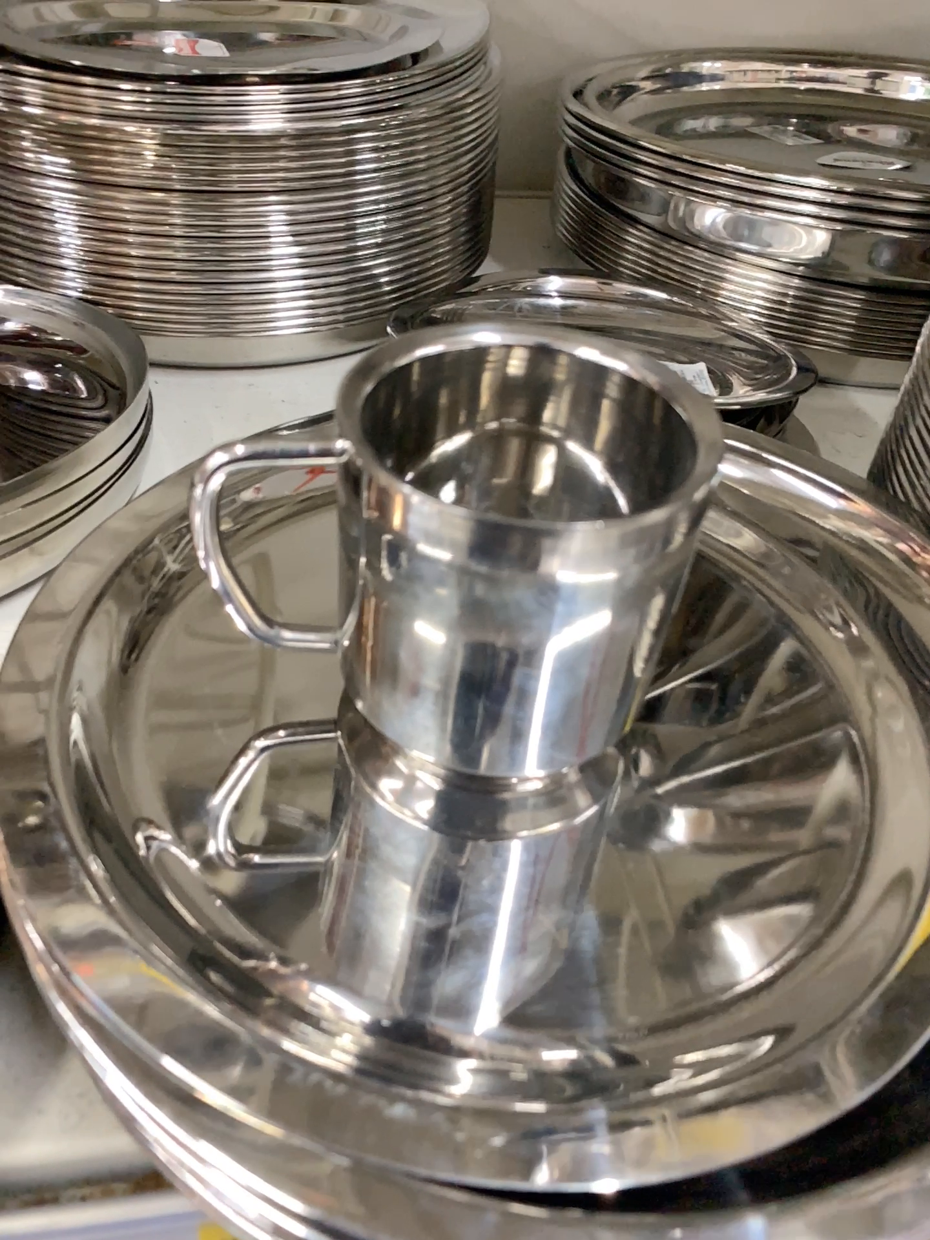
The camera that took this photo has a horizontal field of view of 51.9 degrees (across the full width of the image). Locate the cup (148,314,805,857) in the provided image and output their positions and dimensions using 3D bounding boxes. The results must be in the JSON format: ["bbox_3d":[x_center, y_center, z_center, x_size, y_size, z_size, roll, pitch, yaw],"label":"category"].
[{"bbox_3d":[-0.002,-0.009,0.179,0.090,0.070,0.070,-2,42,-7],"label":"cup"}]
